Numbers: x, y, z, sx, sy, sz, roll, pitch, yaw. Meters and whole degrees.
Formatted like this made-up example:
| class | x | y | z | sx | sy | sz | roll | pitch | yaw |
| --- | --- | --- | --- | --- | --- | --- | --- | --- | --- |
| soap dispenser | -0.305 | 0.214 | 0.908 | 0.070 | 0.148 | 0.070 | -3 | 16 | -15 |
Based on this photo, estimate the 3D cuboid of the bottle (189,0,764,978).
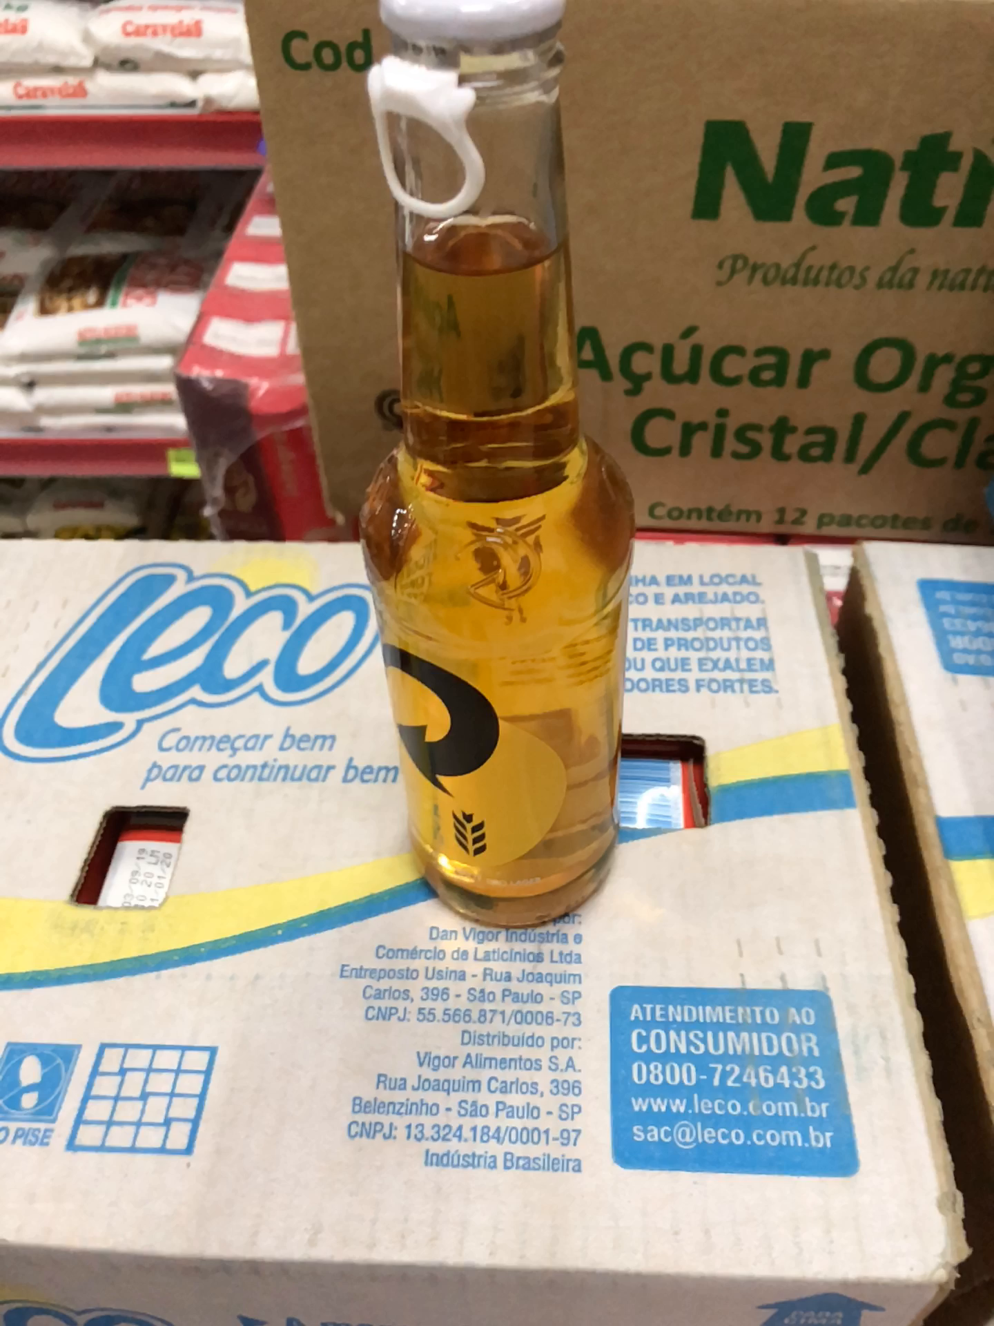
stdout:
| class | x | y | z | sx | sy | sz | roll | pitch | yaw |
| --- | --- | --- | --- | --- | --- | --- | --- | --- | --- |
| bottle | 0.001 | -0.024 | 0.232 | 0.060 | 0.208 | 0.060 | -1 | 45 | 1 |
